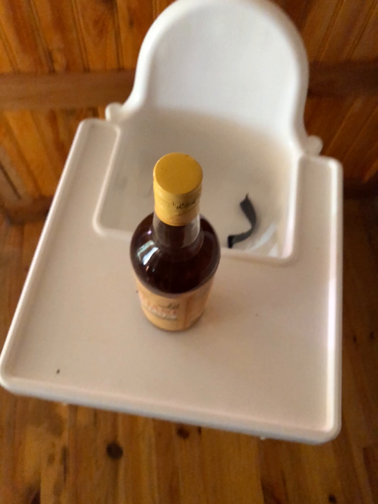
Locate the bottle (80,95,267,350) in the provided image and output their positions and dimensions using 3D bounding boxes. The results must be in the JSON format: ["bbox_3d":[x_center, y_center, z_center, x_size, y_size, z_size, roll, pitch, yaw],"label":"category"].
[{"bbox_3d":[-0.017,0.006,0.405,0.080,0.299,0.090,-37,73,-17],"label":"bottle"}]
